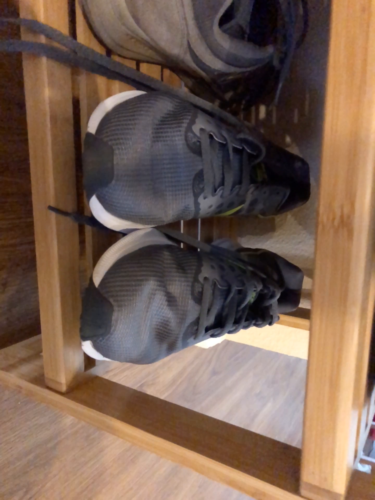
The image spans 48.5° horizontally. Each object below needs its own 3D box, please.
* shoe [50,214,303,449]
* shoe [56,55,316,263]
[{"bbox_3d":[0.023,0.038,0.393,0.312,0.070,0.120,-14,108,-56],"label":"shoe"},{"bbox_3d":[0.032,-0.072,0.373,0.312,0.070,0.110,-14,108,-56],"label":"shoe"}]
